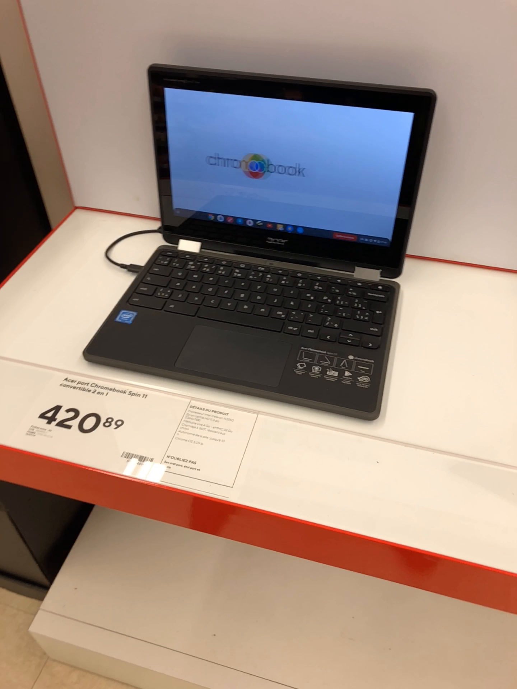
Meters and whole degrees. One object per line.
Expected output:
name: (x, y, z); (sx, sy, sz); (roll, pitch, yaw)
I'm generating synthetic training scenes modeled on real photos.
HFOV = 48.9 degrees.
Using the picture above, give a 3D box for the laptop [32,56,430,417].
laptop: (-0.004, -0.121, 0.564); (0.289, 0.198, 0.253); (10, 47, 12)
